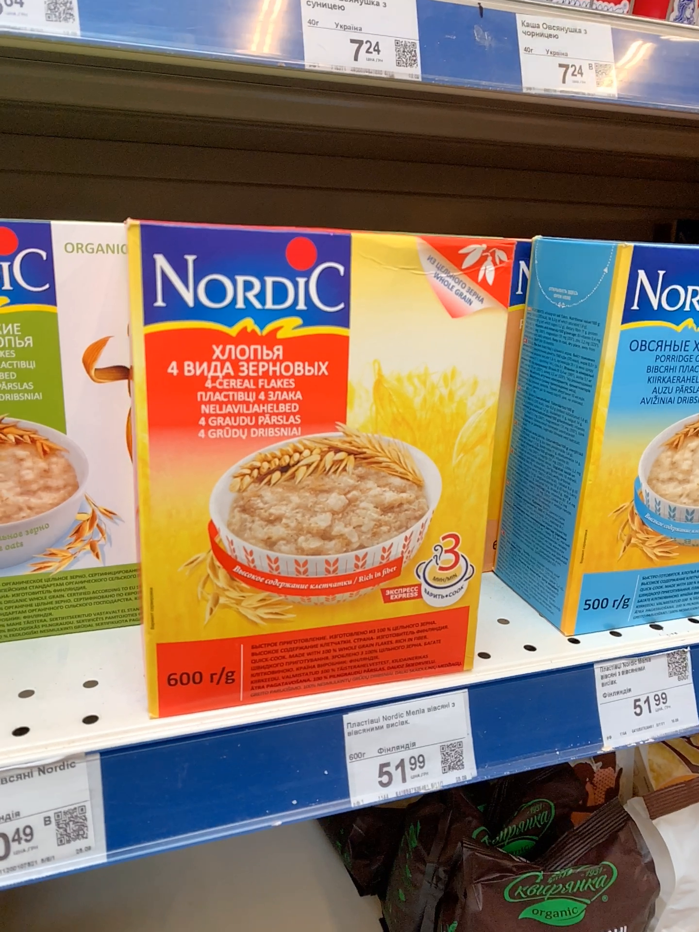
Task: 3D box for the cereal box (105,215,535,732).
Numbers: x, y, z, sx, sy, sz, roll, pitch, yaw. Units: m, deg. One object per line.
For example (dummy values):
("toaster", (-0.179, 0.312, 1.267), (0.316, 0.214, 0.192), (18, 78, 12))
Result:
("cereal box", (-0.018, -0.004, 0.308), (0.150, 0.189, 0.080), (-3, 18, -16))
